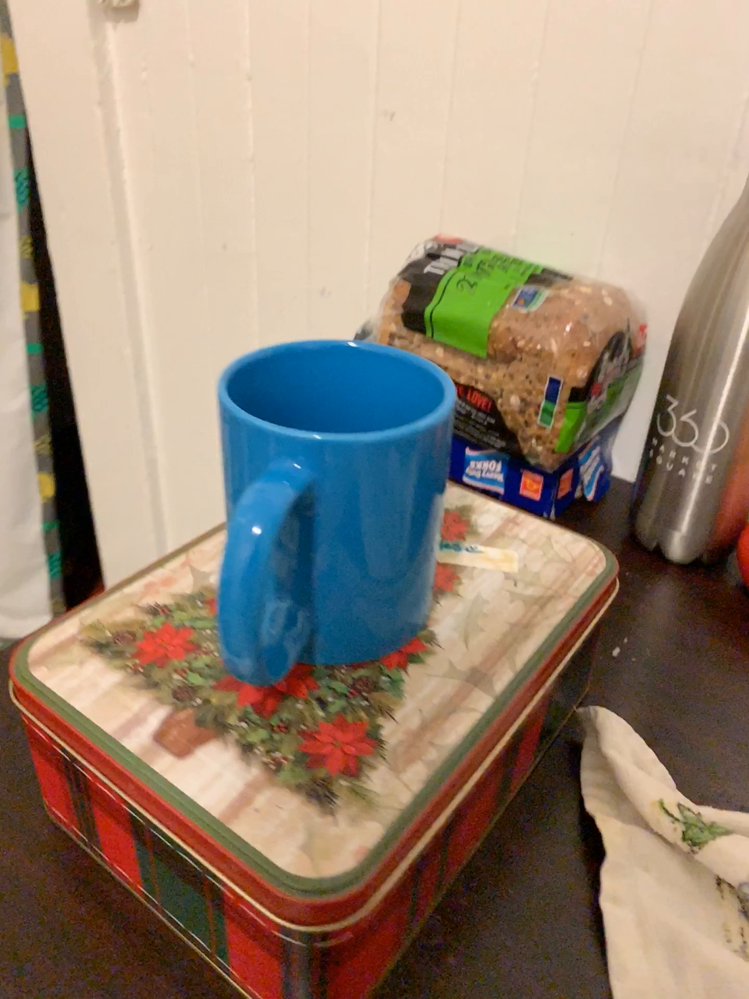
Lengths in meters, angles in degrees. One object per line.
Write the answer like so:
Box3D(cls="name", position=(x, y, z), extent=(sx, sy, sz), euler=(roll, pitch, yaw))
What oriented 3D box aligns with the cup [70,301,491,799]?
Box3D(cls="cup", position=(-0.019, 0.006, 0.266), extent=(0.090, 0.099, 0.131), euler=(10, 33, 11))
